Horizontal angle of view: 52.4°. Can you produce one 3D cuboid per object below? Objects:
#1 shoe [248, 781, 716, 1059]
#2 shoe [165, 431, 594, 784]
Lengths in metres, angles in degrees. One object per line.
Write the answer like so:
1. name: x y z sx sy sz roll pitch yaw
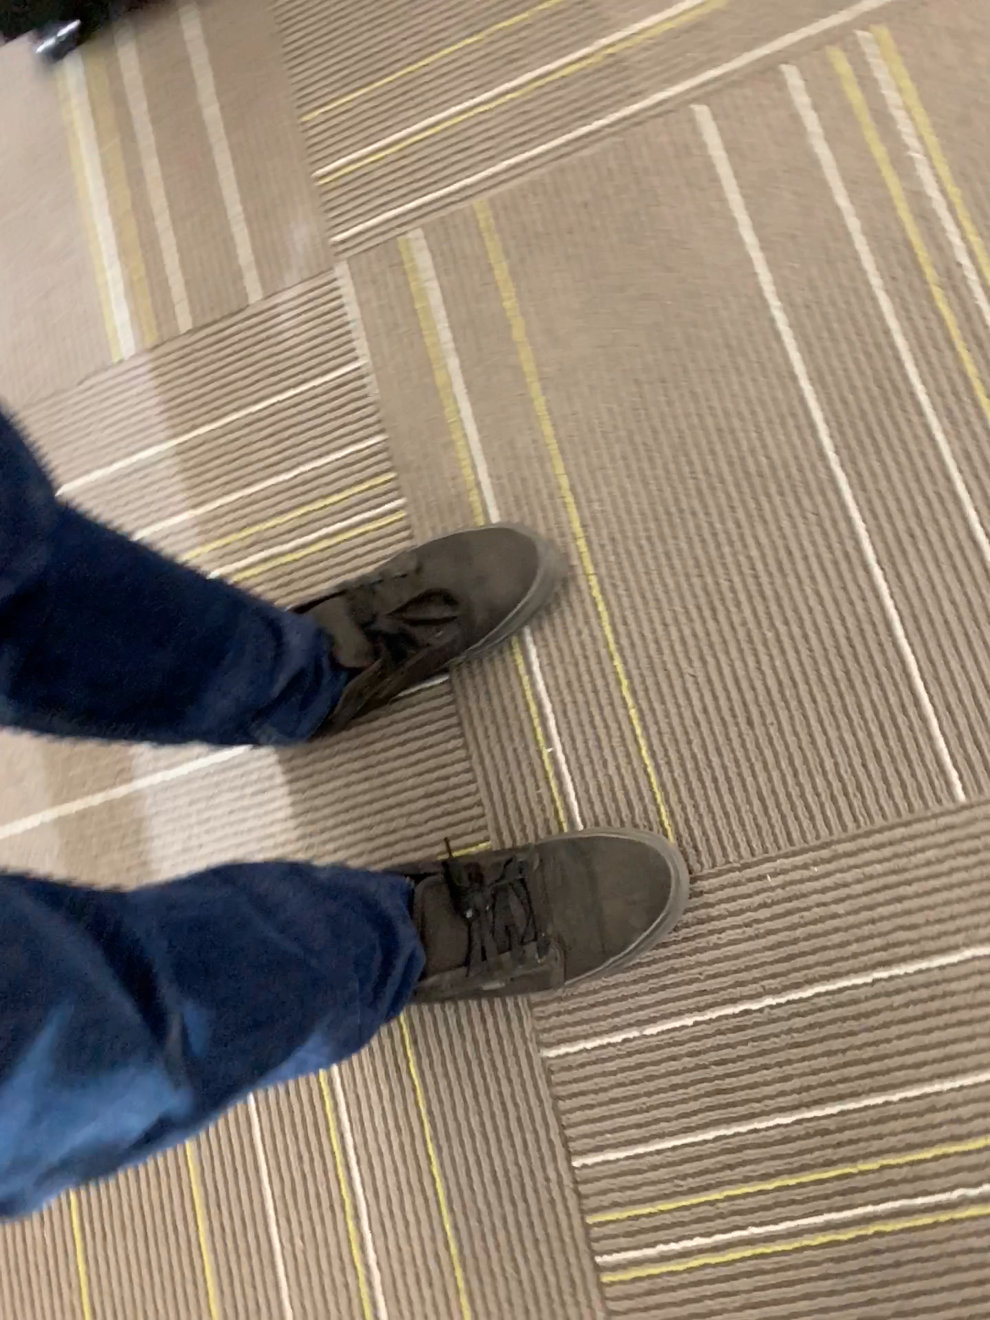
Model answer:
1. shoe: -0.008 0.182 0.706 0.291 0.113 0.109 -18 75 13
2. shoe: -0.086 -0.030 0.773 0.291 0.113 0.109 -32 72 9
